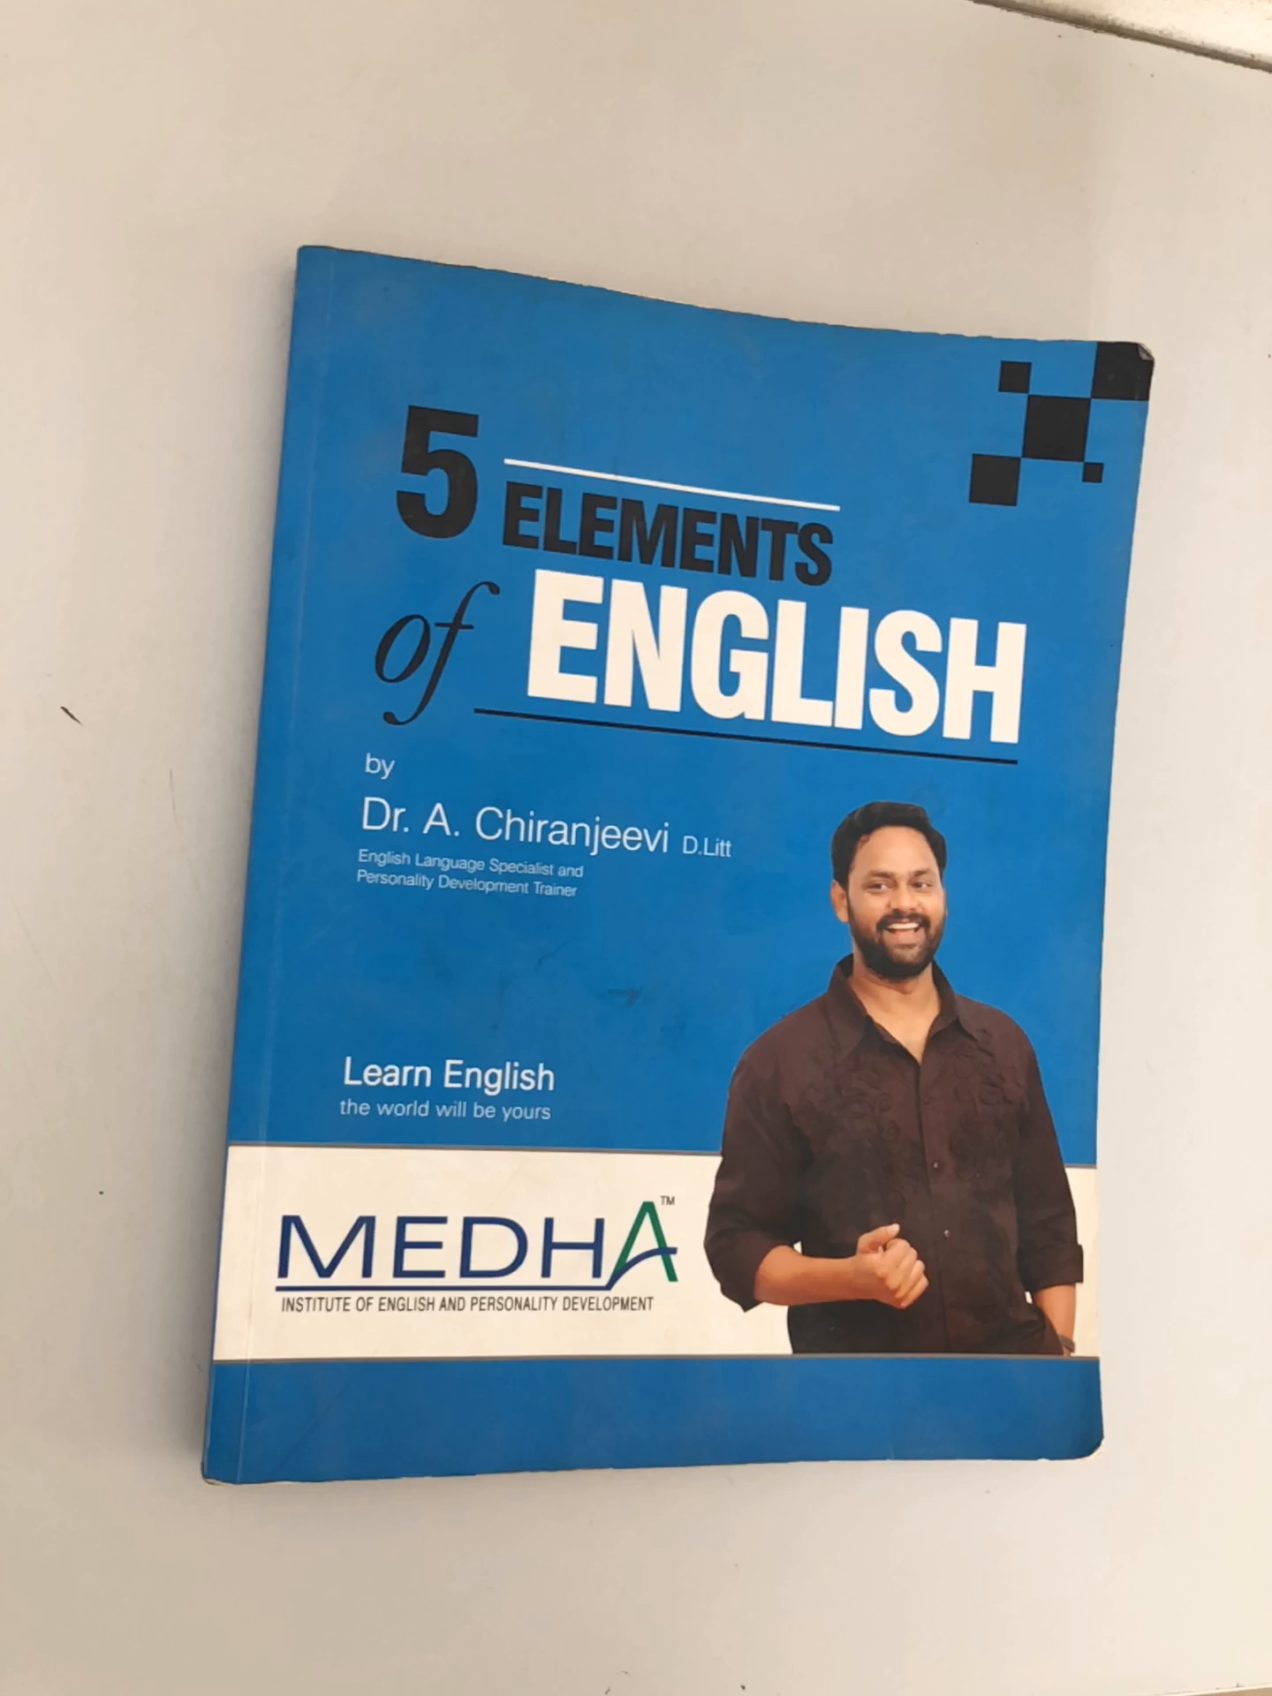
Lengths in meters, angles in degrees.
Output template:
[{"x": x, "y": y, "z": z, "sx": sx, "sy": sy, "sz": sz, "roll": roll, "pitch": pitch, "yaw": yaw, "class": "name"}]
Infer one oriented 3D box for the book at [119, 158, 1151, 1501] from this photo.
[{"x": 0.009, "y": -0.002, "z": 0.261, "sx": 0.180, "sy": 0.020, "sz": 0.220, "roll": 3, "pitch": 85, "yaw": -14, "class": "book"}]
